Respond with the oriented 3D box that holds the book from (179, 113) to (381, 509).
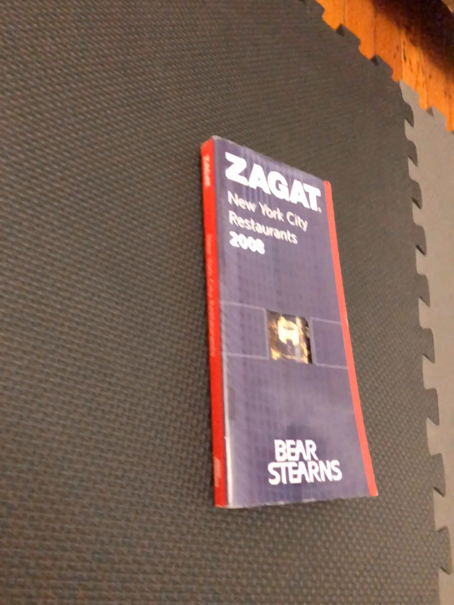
[{"bbox_3d":[0.031,0.004,0.312,0.121,0.030,0.220,10,68,-35],"label":"book"}]
